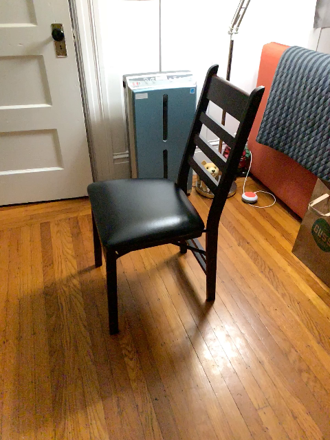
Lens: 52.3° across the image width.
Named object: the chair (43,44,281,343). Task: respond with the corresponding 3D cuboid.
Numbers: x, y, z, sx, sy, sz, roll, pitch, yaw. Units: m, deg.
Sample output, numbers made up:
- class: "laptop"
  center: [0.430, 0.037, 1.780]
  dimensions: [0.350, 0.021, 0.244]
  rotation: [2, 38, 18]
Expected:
- class: "chair"
  center: [-0.050, -0.105, 1.217]
  dimensions: [0.550, 0.865, 0.493]
  rotation: [-12, 37, -17]
